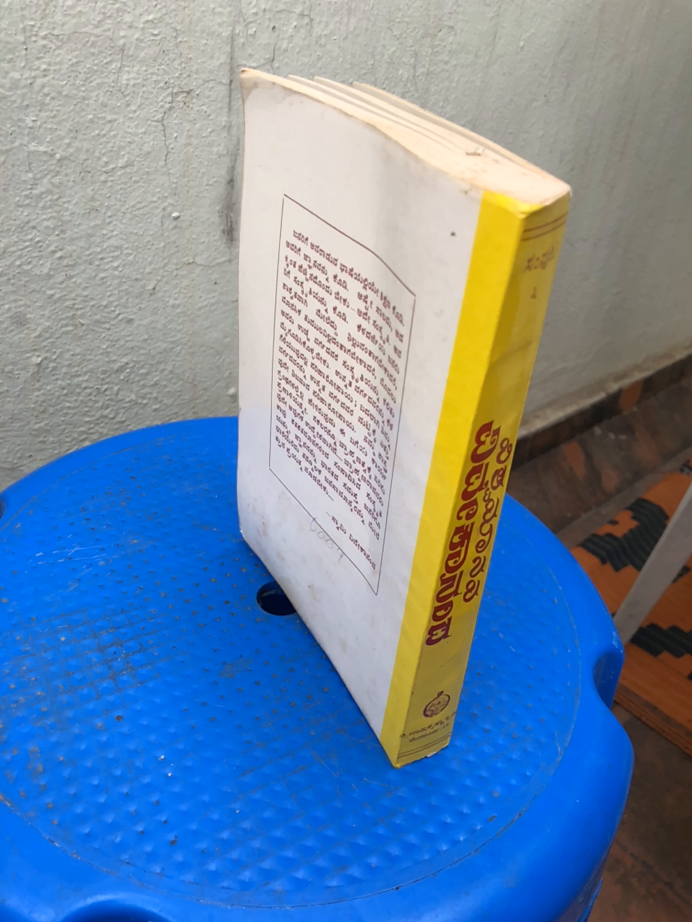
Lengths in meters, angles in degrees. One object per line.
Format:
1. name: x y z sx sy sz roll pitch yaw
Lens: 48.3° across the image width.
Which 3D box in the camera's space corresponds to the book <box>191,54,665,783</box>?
1. book: 0.001 -0.025 0.290 0.050 0.199 0.191 -14 39 -24
